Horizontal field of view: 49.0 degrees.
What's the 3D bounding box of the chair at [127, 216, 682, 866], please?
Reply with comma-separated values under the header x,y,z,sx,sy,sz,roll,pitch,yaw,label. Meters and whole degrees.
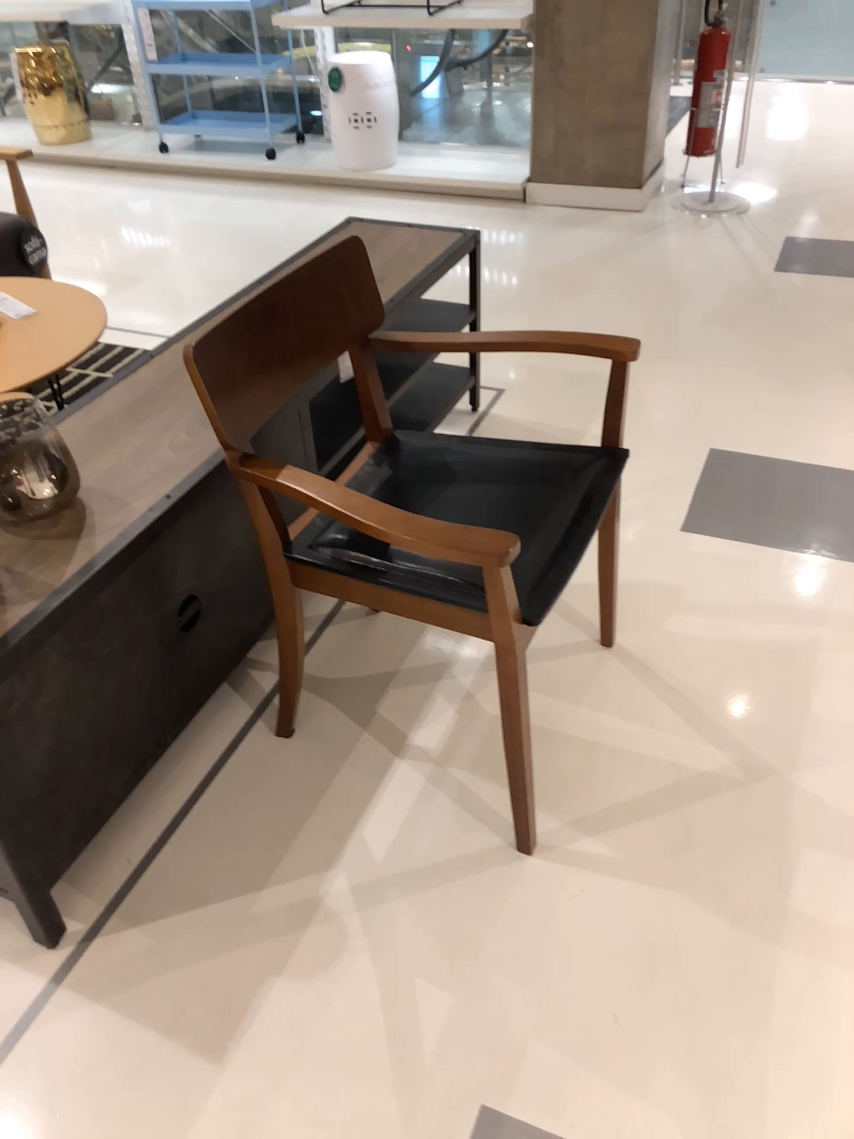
x,y,z,sx,sy,sz,roll,pitch,yaw,label
0.019,-0.071,1.481,0.570,0.744,0.564,12,40,19,chair
